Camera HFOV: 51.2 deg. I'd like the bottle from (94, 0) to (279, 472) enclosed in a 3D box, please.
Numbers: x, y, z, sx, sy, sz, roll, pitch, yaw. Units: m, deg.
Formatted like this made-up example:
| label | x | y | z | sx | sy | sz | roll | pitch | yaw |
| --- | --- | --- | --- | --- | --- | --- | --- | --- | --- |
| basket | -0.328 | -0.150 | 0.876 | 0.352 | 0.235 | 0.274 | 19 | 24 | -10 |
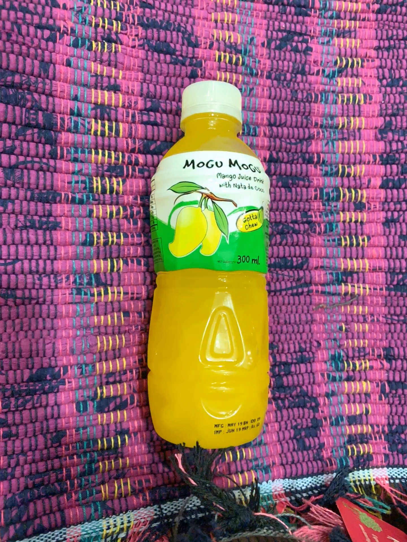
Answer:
| label | x | y | z | sx | sy | sz | roll | pitch | yaw |
| --- | --- | --- | --- | --- | --- | --- | --- | --- | --- |
| bottle | -0.011 | -0.012 | 0.182 | 0.060 | 0.060 | 0.160 | 1 | 87 | -23 |
